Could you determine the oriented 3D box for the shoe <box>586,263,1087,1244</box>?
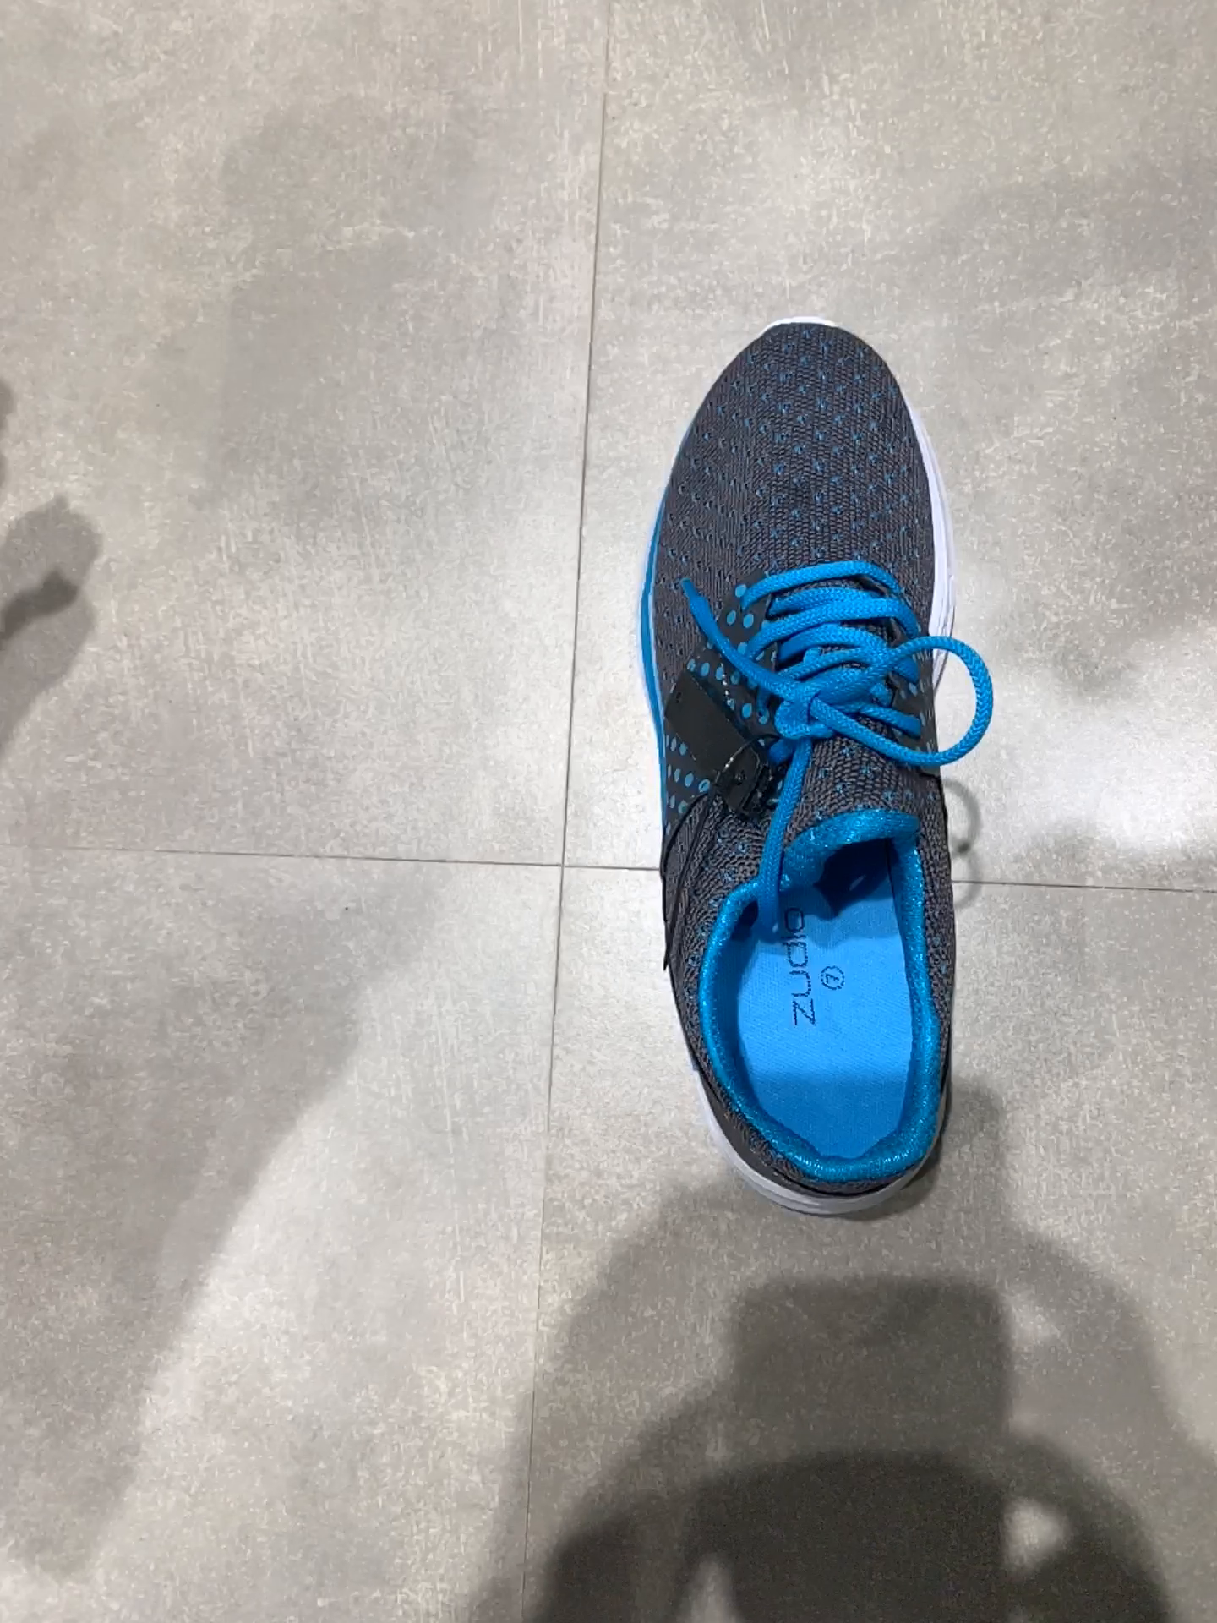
[{"bbox_3d":[0.056,-0.010,0.341,0.102,0.102,0.227,-3,82,8],"label":"shoe"}]
